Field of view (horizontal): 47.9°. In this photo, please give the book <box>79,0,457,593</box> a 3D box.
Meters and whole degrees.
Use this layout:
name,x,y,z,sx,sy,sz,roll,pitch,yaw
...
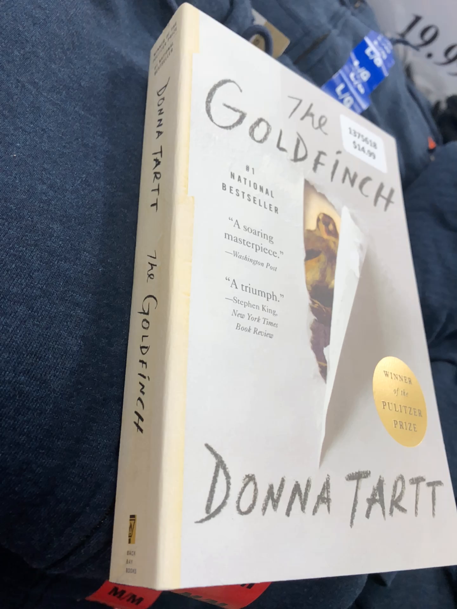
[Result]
name,x,y,z,sx,sy,sz,roll,pitch,yaw
book,0.029,-0.006,0.230,0.158,0.041,0.222,16,61,-34
